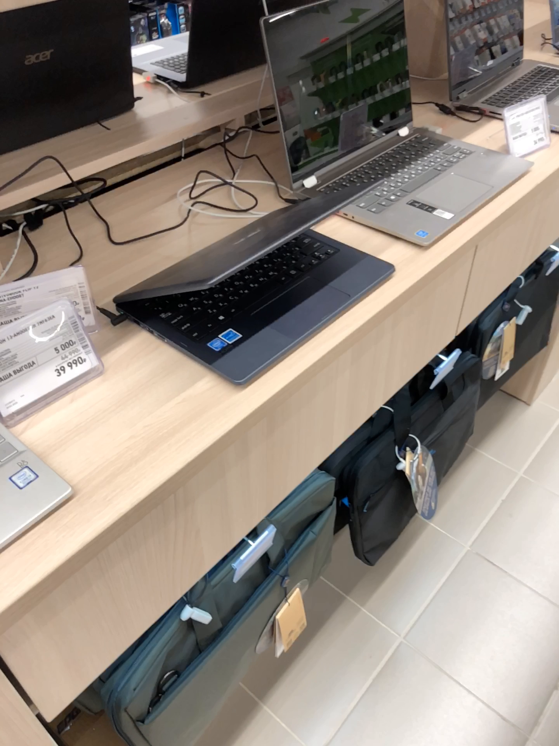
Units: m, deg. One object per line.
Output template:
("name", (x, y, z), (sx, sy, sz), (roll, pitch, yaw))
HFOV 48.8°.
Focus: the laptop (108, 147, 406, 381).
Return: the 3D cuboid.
("laptop", (-0.017, -0.139, 0.690), (0.185, 0.097, 0.272), (31, 50, 29))
